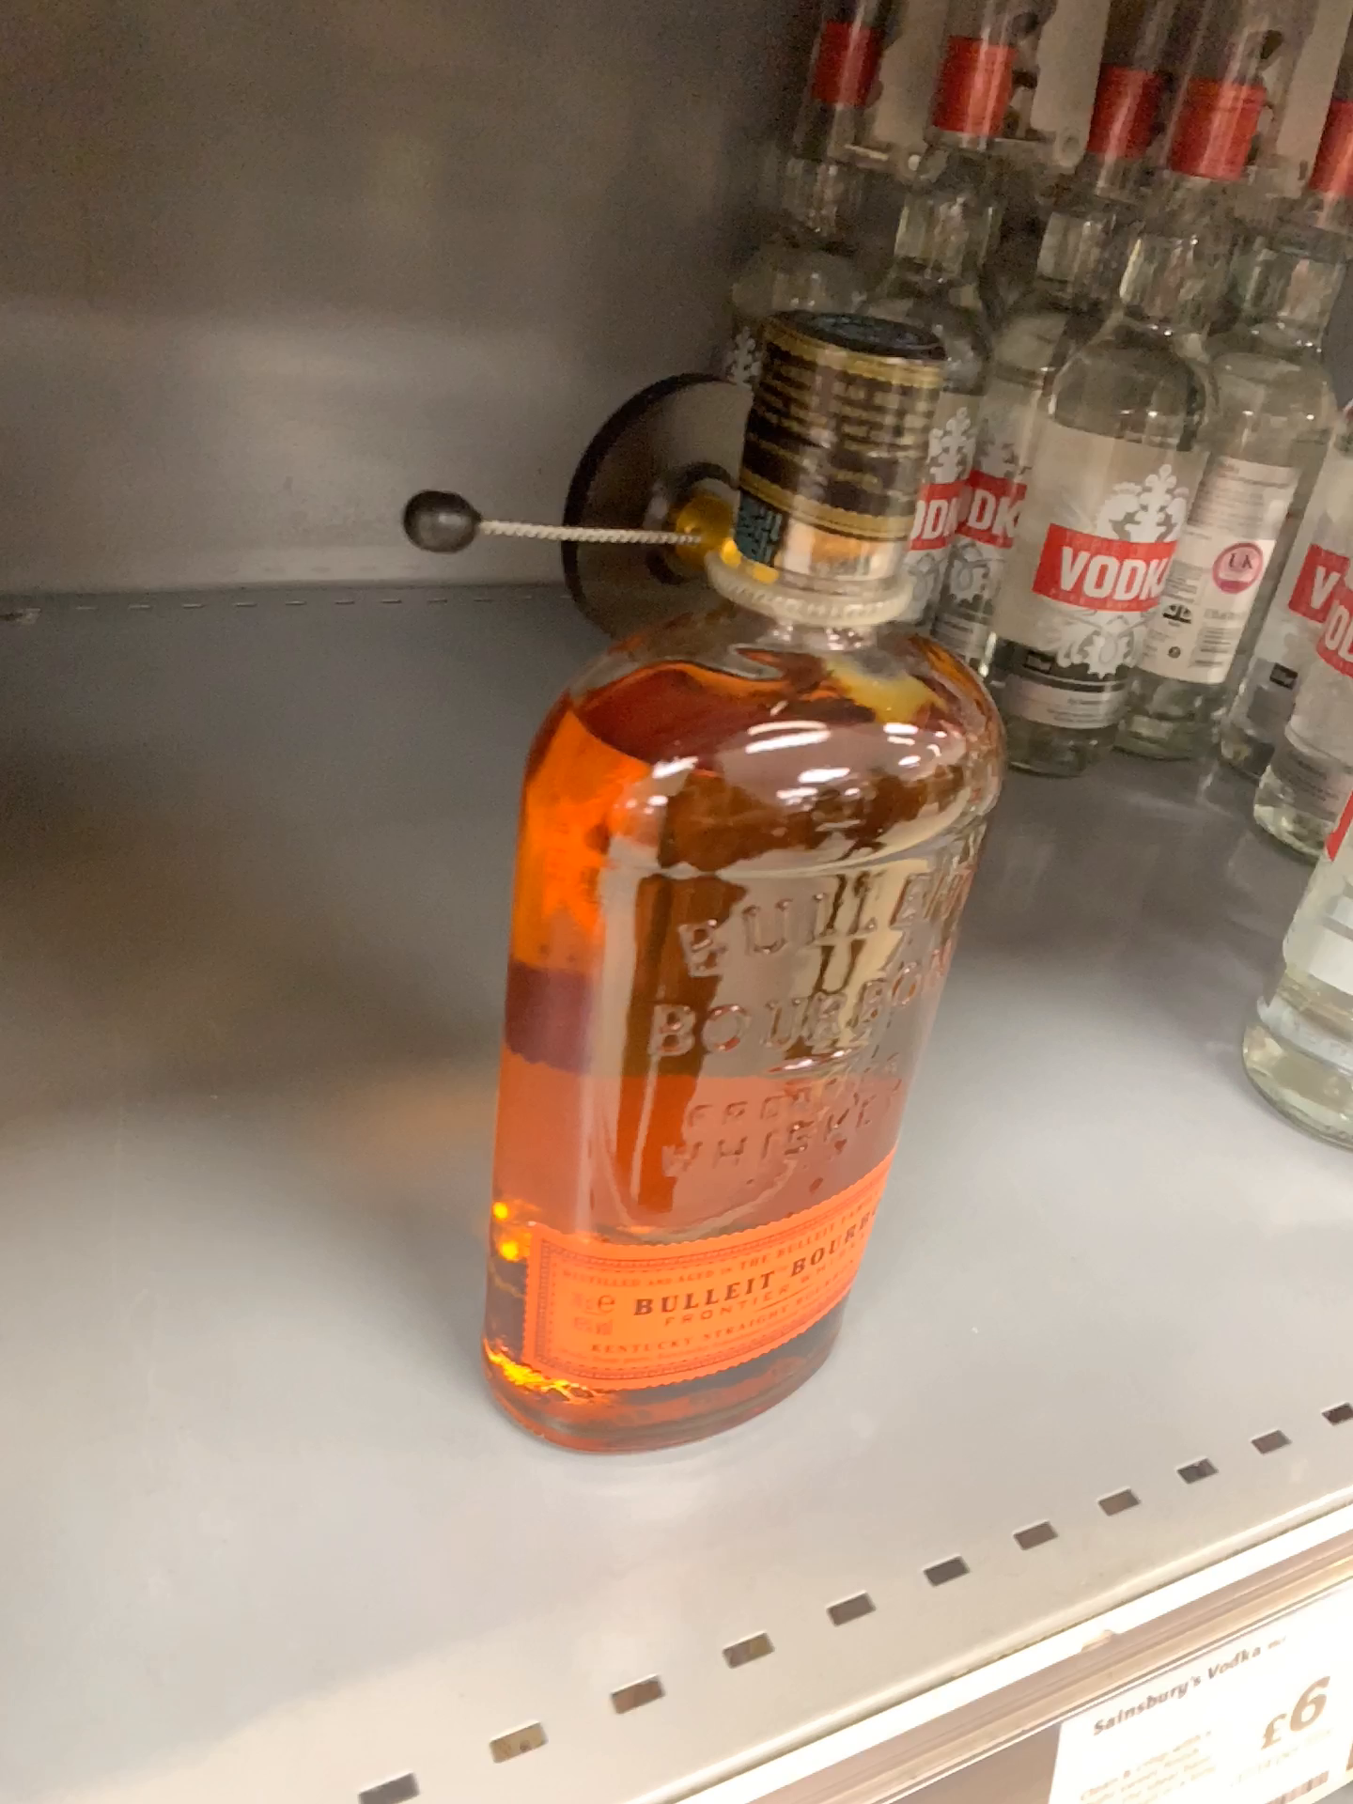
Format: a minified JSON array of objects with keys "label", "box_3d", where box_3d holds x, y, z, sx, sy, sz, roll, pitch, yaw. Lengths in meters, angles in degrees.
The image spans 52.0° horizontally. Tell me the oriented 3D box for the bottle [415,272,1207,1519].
[{"label":"bottle","box_3d":[0.011,0.007,0.274,0.100,0.228,0.060,-11,36,-29]}]
